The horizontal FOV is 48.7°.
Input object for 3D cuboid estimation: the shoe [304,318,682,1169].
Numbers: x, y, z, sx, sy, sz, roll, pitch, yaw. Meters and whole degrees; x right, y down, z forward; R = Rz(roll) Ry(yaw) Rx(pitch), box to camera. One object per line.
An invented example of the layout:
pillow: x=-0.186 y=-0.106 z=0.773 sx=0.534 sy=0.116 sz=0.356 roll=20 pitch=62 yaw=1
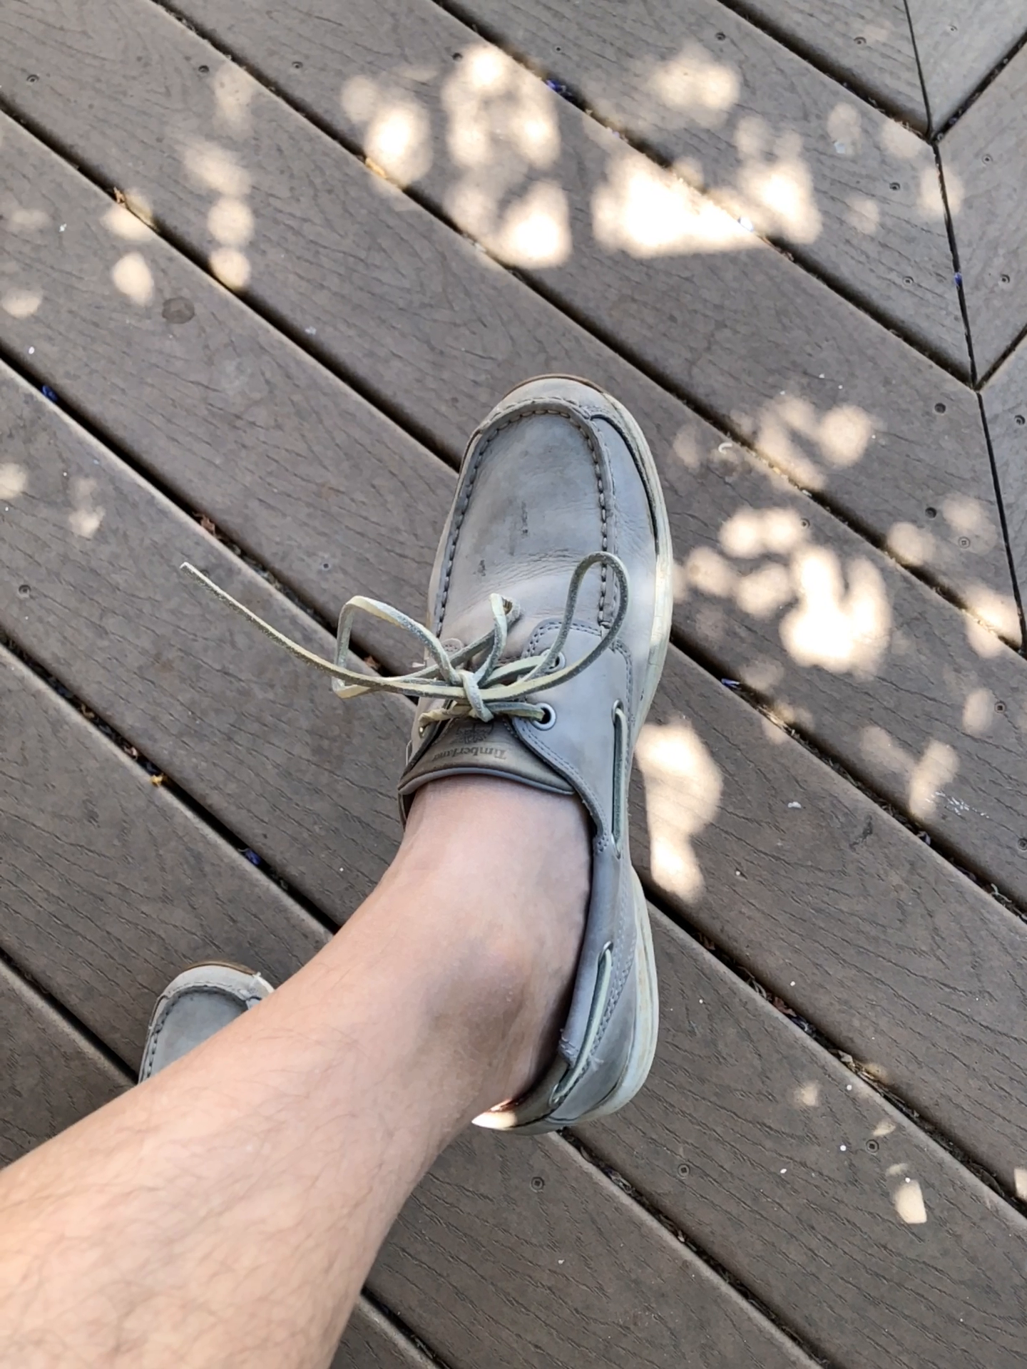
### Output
shoe: x=-0.002 y=0.022 z=0.491 sx=0.110 sy=0.092 sz=0.322 roll=-5 pitch=75 yaw=34
